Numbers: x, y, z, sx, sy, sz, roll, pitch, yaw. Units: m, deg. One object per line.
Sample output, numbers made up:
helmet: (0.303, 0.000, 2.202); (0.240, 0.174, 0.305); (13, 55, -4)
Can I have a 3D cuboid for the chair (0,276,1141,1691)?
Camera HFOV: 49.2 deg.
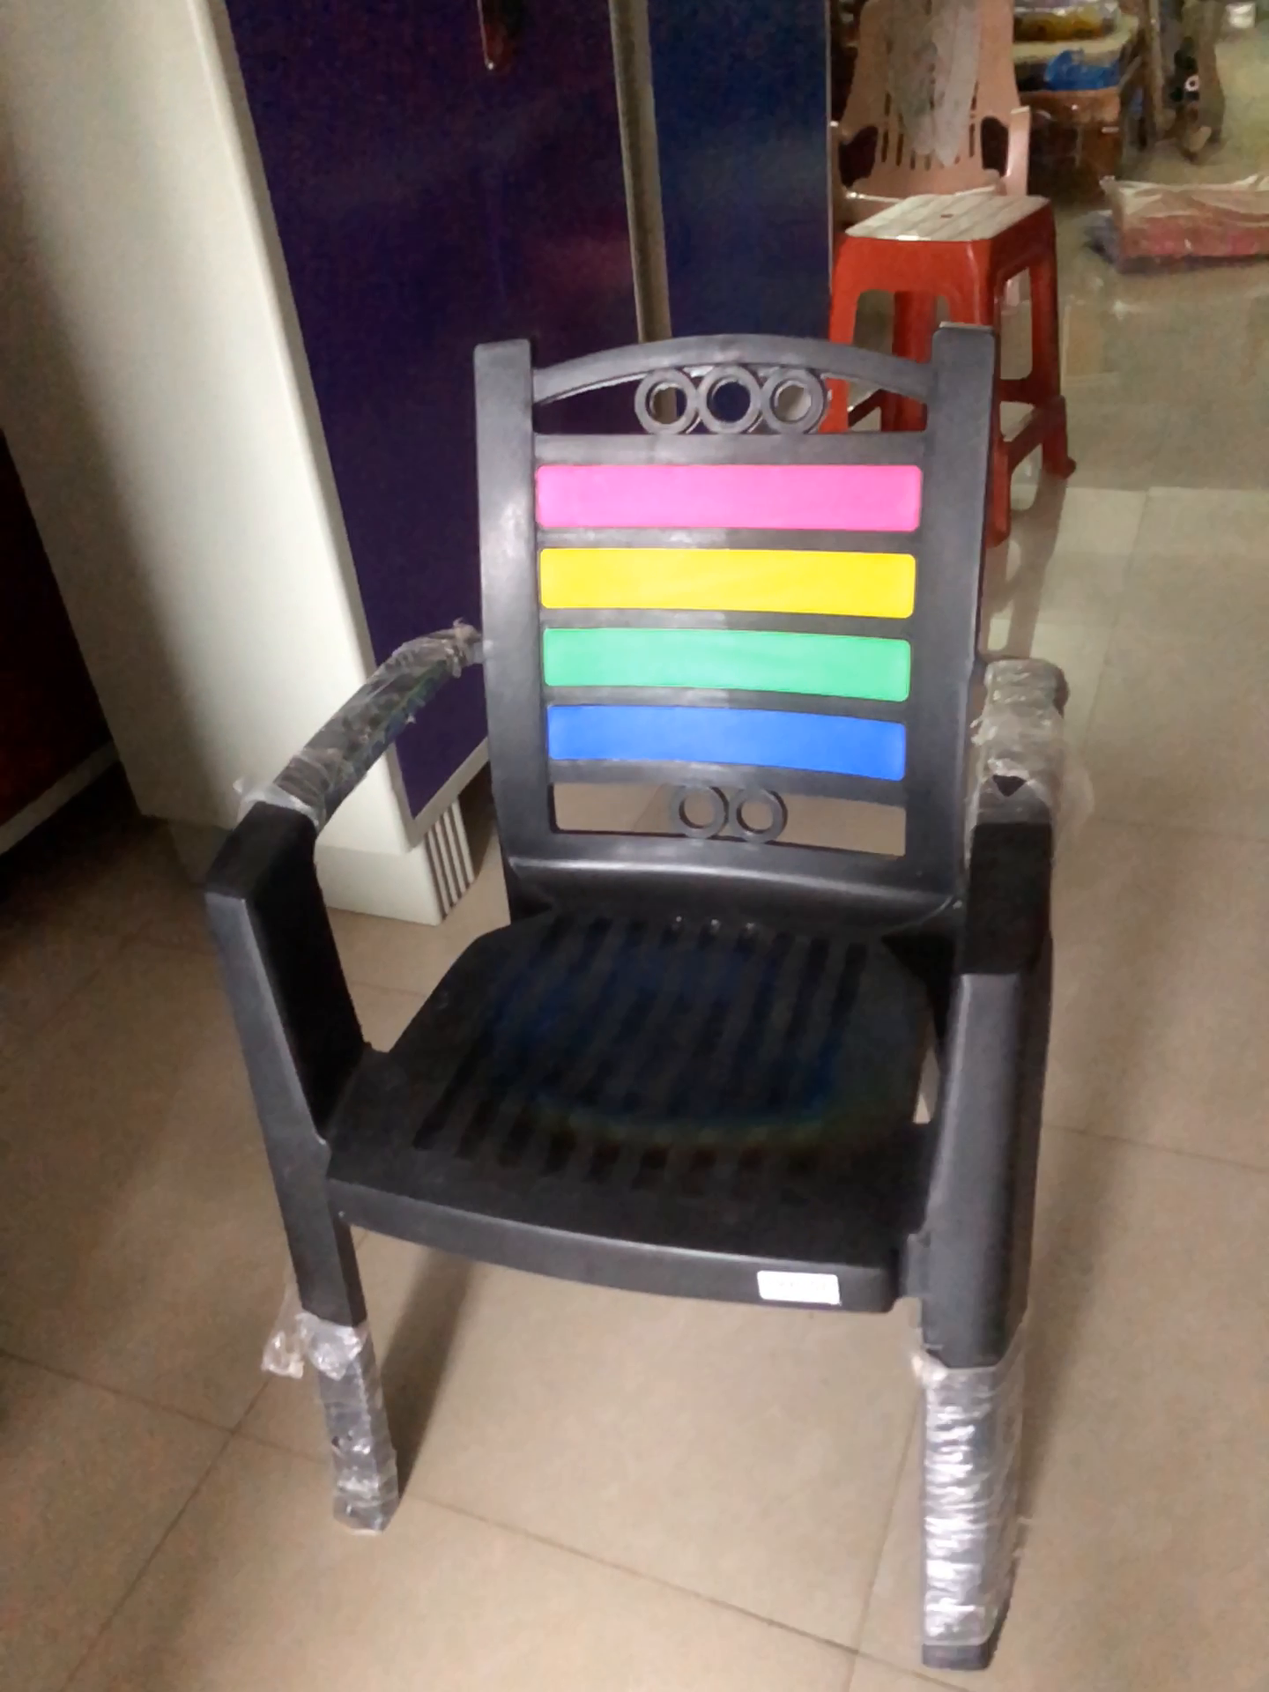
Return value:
chair: (0.038, 0.113, 1.188); (0.640, 0.975, 0.613); (6, 37, 18)
